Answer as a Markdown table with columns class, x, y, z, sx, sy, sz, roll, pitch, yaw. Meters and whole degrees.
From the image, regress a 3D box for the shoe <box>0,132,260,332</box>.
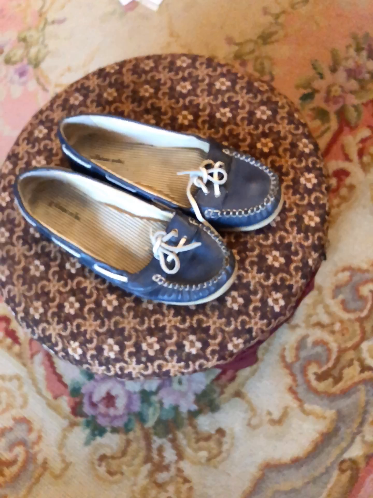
| class | x | y | z | sx | sy | sz | roll | pitch | yaw |
| --- | --- | --- | --- | --- | --- | --- | --- | --- | --- |
| shoe | -0.065 | -0.017 | 0.414 | 0.250 | 0.100 | 0.090 | 24 | 84 | 18 |

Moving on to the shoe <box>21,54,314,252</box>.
| class | x | y | z | sx | sy | sz | roll | pitch | yaw |
| --- | --- | --- | --- | --- | --- | --- | --- | --- | --- |
| shoe | -0.018 | -0.094 | 0.416 | 0.250 | 0.090 | 0.090 | 21 | 77 | 12 |
